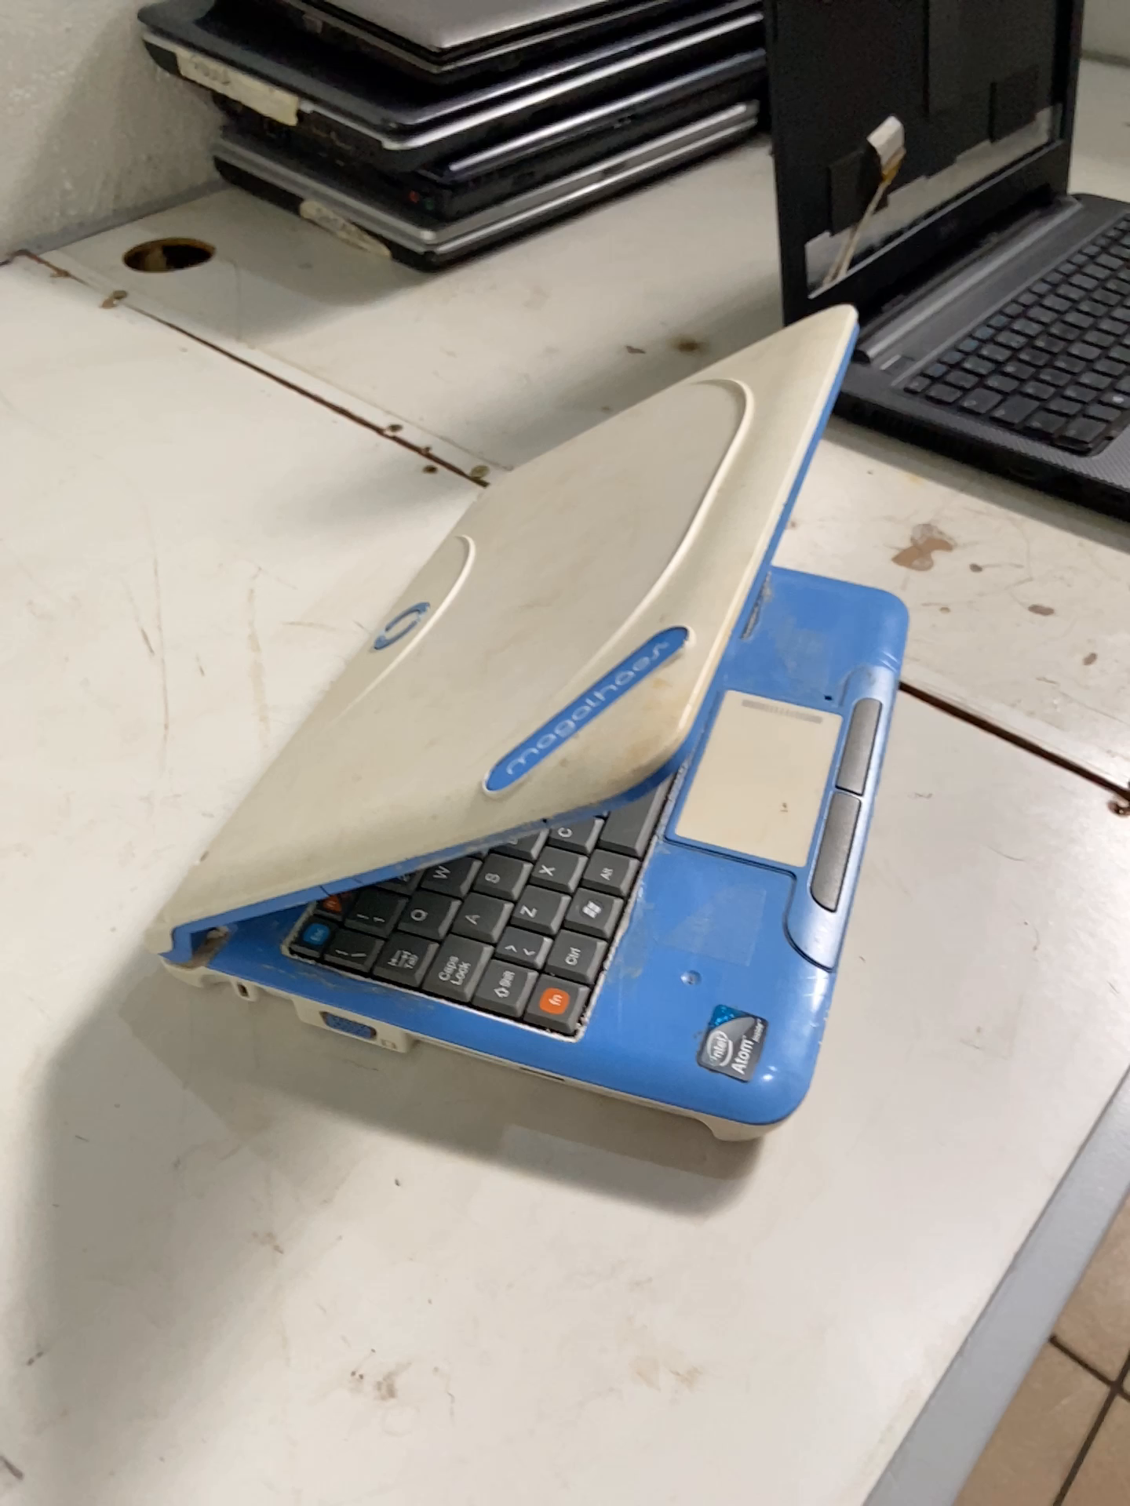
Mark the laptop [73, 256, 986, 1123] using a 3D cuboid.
[{"bbox_3d":[0.013,-0.044,0.376,0.182,0.116,0.248,14,46,15],"label":"laptop"}]
